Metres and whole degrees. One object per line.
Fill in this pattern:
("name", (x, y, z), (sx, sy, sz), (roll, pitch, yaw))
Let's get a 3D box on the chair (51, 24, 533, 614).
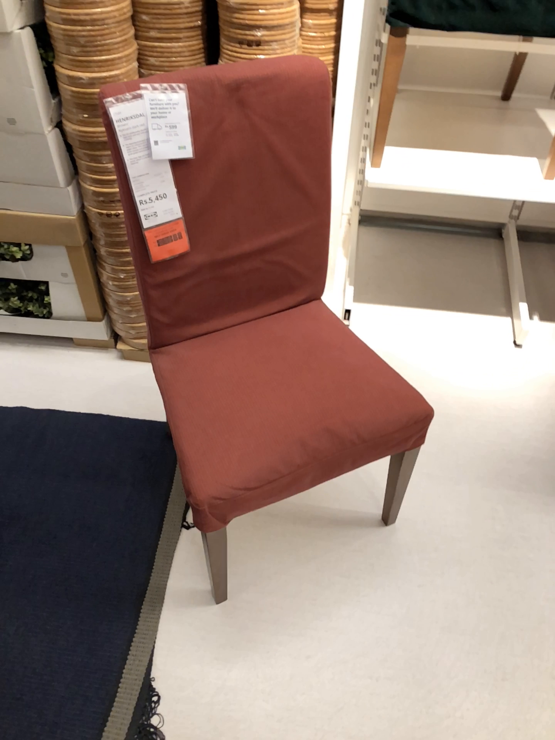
("chair", (-0.022, -0.045, 1.248), (0.521, 0.994, 0.533), (-18, 50, -18))
